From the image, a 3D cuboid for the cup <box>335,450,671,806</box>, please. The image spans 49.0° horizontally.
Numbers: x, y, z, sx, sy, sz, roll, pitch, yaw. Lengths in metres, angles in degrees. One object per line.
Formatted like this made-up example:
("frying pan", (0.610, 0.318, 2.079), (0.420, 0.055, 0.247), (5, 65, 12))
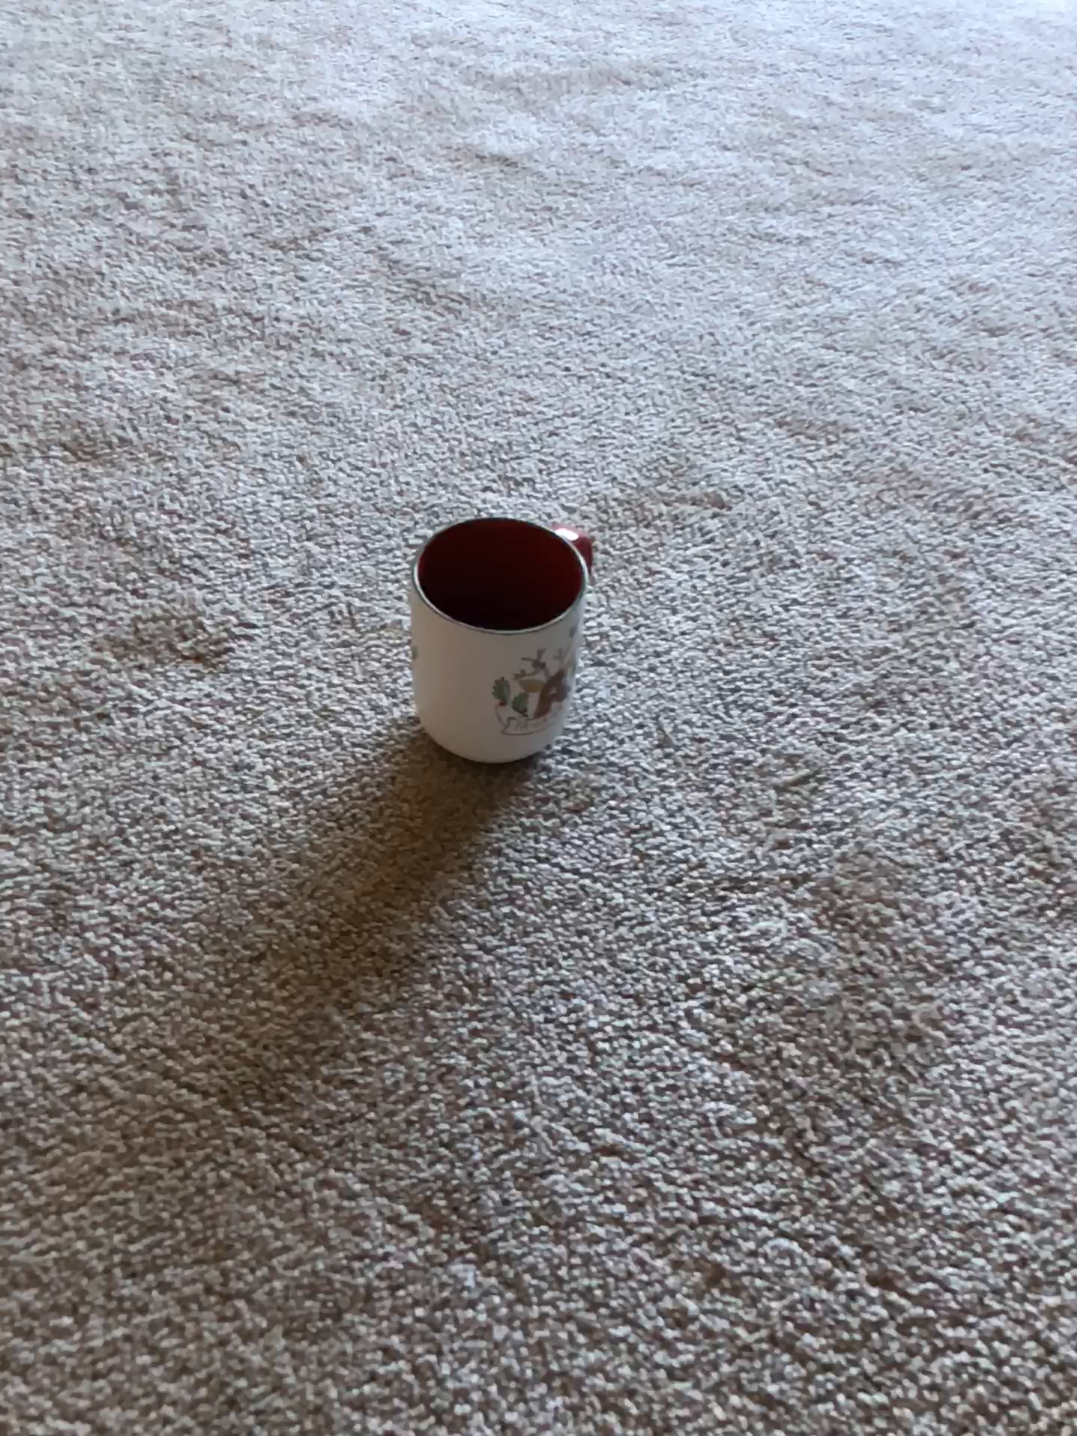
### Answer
("cup", (-0.016, -0.050, 0.613), (0.100, 0.090, 0.140), (30, 54, 22))
